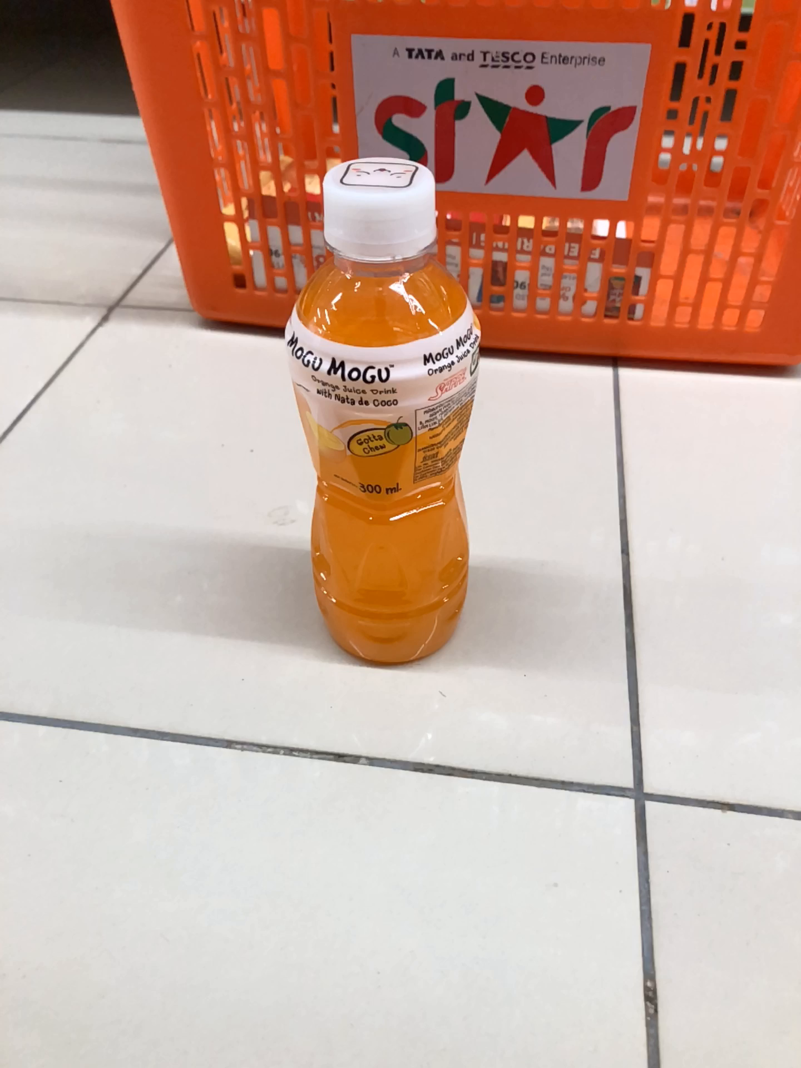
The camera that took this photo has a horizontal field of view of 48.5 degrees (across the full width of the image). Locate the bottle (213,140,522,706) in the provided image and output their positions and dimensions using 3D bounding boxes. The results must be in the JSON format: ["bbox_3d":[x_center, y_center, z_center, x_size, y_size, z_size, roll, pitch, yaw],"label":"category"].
[{"bbox_3d":[-0.007,-0.027,0.277,0.060,0.159,0.050,27,48,29],"label":"bottle"}]
